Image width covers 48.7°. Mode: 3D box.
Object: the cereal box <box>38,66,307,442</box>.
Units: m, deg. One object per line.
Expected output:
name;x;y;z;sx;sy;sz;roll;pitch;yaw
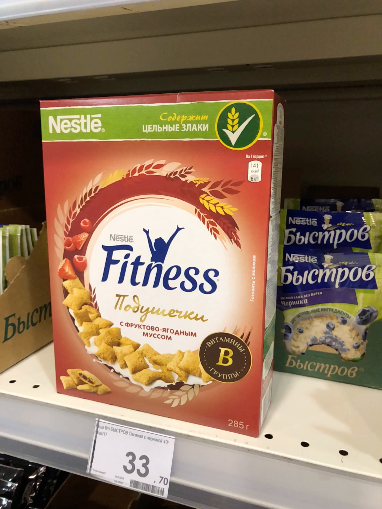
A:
cereal box;-0.016;-0.002;0.316;0.180;0.239;0.050;5;12;19
